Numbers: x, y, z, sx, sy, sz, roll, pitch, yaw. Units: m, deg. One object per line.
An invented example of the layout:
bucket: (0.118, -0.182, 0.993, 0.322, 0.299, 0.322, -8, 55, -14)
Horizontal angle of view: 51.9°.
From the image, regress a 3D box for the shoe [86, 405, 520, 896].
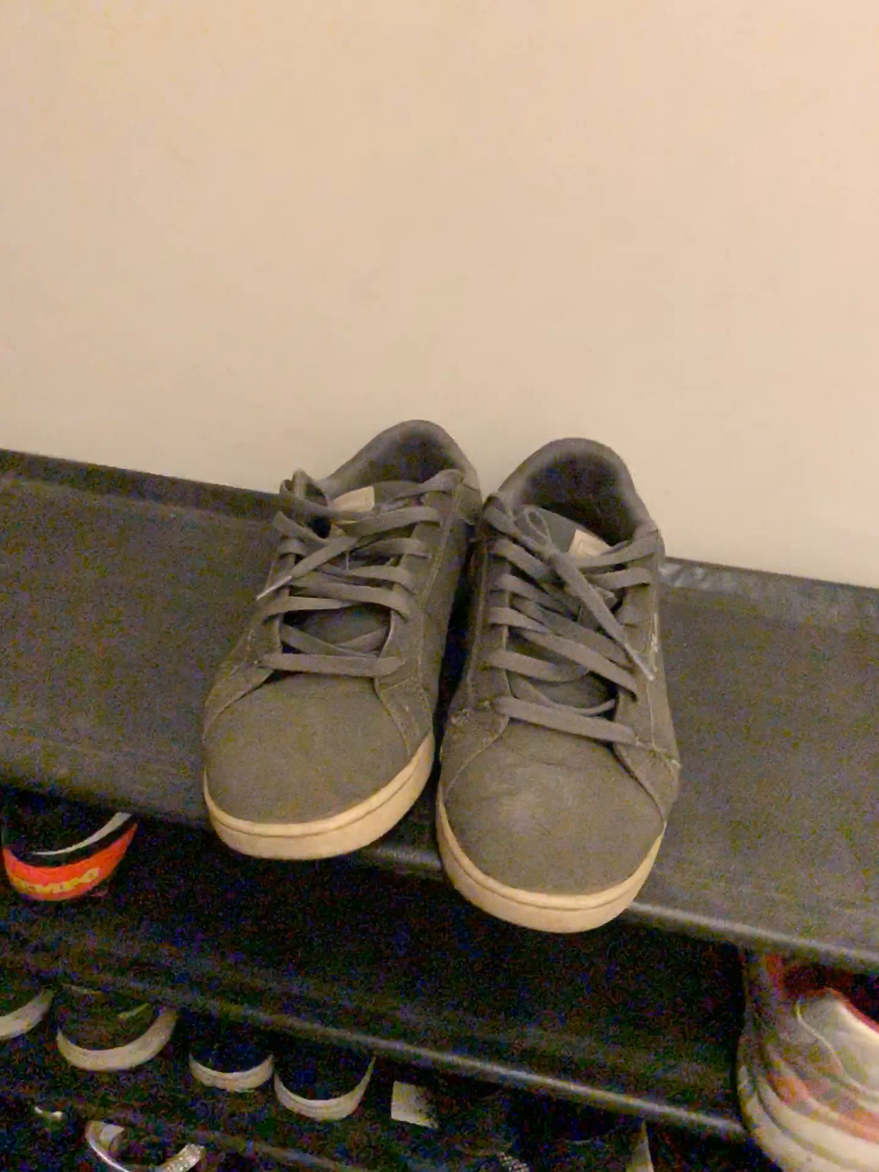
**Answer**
shoe: (-0.042, 0.006, 0.455, 0.120, 0.079, 0.273, 8, 36, 10)

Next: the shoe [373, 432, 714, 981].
shoe: (0.068, 0.028, 0.460, 0.120, 0.079, 0.303, 8, 36, 10)
